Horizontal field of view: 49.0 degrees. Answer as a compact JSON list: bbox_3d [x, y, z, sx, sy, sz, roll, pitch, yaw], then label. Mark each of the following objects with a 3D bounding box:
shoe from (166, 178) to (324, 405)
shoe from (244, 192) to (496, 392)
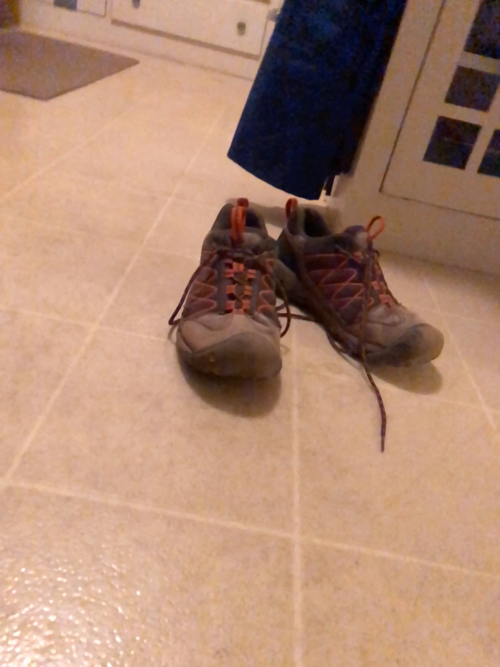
[{"bbox_3d":[-0.008,-0.067,0.642,0.127,0.121,0.294,10,31,-6],"label":"shoe"},{"bbox_3d":[0.140,-0.071,0.716,0.128,0.121,0.283,-15,42,-39],"label":"shoe"}]
